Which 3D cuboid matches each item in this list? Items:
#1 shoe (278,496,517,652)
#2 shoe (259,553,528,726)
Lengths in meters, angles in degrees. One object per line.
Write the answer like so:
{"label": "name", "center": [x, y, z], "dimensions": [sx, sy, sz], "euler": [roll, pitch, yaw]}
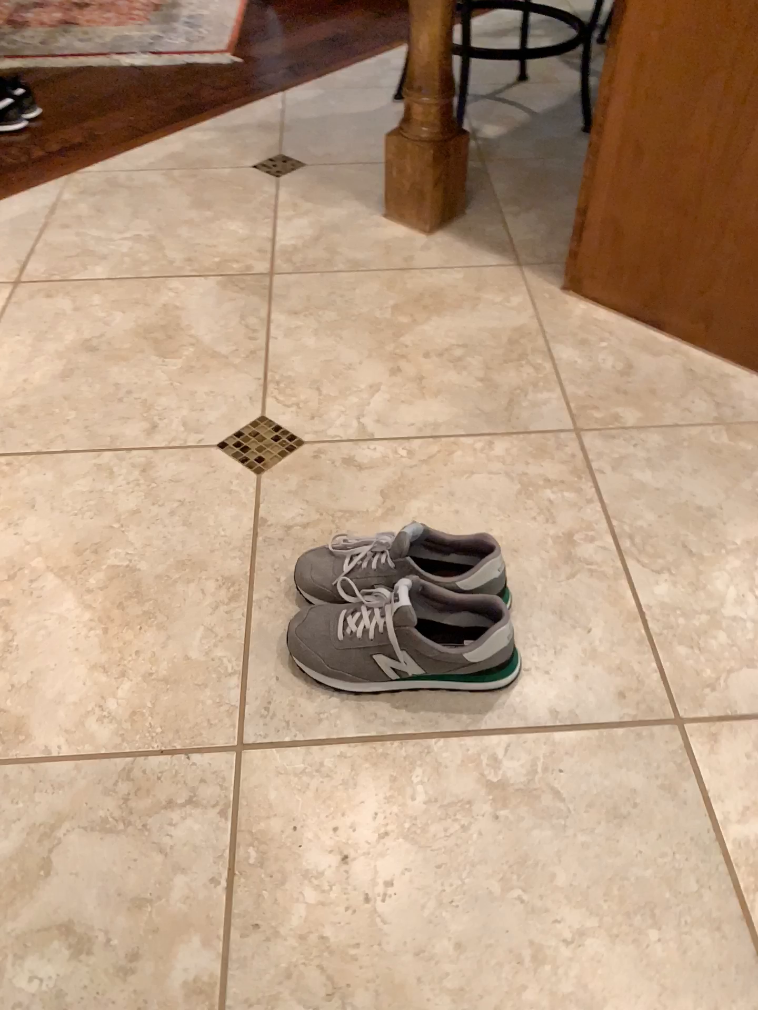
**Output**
{"label": "shoe", "center": [0.026, 0.085, 0.981], "dimensions": [0.274, 0.103, 0.116], "euler": [9, 47, 8]}
{"label": "shoe", "center": [0.020, 0.155, 0.908], "dimensions": [0.284, 0.103, 0.116], "euler": [9, 47, 8]}
